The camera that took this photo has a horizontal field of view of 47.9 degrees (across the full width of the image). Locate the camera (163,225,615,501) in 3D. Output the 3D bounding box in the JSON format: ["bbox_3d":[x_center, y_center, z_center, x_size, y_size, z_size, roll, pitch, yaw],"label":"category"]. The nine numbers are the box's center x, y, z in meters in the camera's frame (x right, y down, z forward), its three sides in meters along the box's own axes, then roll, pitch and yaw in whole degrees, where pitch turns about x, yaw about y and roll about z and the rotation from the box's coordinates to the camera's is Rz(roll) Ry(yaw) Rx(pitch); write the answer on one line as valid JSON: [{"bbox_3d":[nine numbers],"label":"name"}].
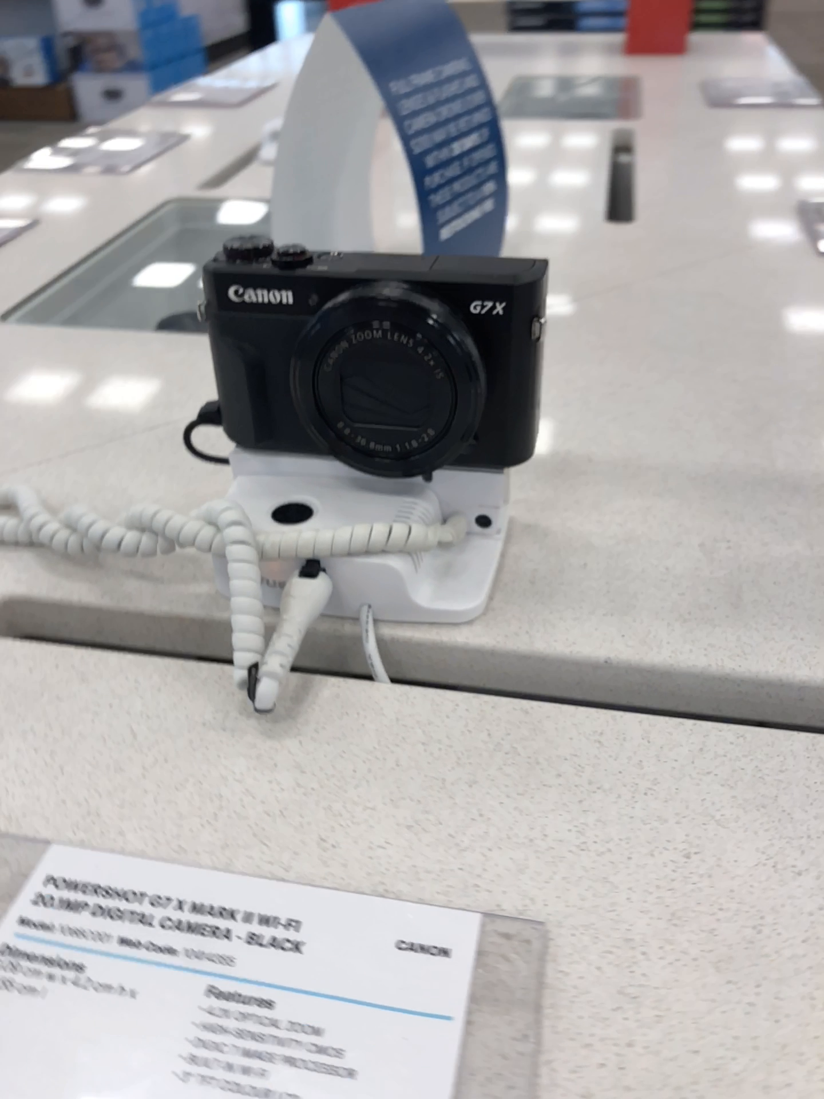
[{"bbox_3d":[-0.004,-0.059,0.281,0.120,0.060,0.050,6,36,12],"label":"camera"}]
